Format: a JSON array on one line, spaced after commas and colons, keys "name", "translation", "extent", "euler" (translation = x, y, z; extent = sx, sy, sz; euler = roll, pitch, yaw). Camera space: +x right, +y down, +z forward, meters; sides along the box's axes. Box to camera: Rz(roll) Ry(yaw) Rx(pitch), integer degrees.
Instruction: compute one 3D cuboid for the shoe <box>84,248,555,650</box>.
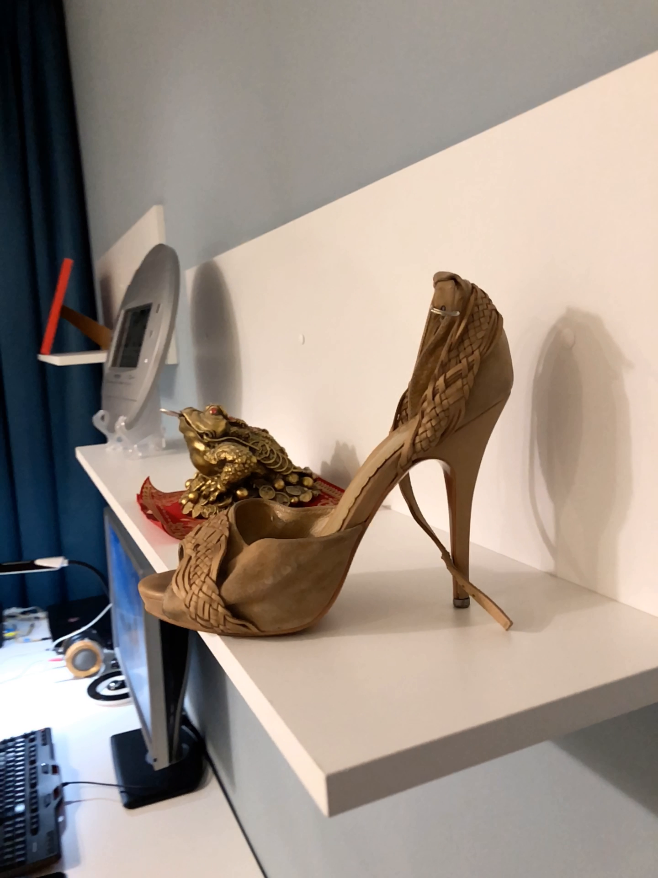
[{"name": "shoe", "translation": [0.001, 0.004, 0.384], "extent": [0.210, 0.180, 0.100], "euler": [-2, 7, 8]}]
